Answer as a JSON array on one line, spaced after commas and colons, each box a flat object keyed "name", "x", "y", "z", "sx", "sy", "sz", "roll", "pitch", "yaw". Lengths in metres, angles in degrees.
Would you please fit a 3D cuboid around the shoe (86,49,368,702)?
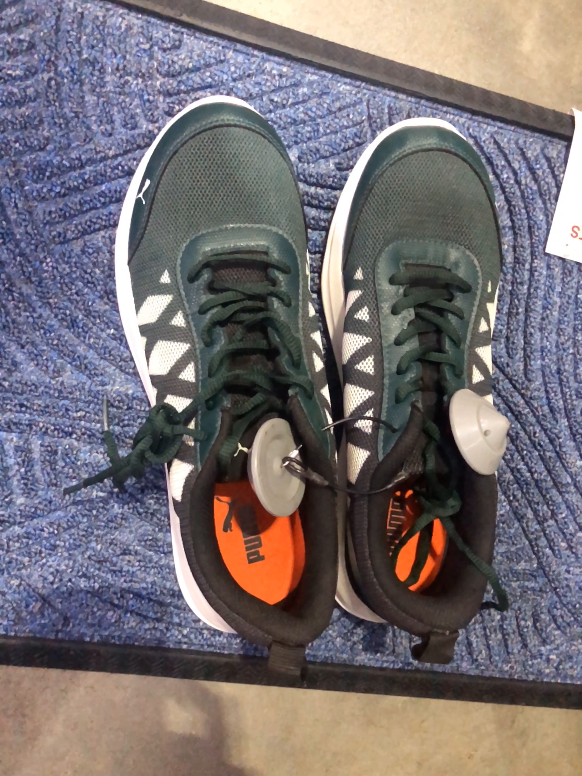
[{"name": "shoe", "x": -0.033, "y": -0.008, "z": 0.345, "sx": 0.110, "sy": 0.060, "sz": 0.310, "roll": -6, "pitch": 94, "yaw": -12}]

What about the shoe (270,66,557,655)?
[{"name": "shoe", "x": 0.064, "y": -0.009, "z": 0.359, "sx": 0.120, "sy": 0.060, "sz": 0.290, "roll": 4, "pitch": 92, "yaw": -12}]
